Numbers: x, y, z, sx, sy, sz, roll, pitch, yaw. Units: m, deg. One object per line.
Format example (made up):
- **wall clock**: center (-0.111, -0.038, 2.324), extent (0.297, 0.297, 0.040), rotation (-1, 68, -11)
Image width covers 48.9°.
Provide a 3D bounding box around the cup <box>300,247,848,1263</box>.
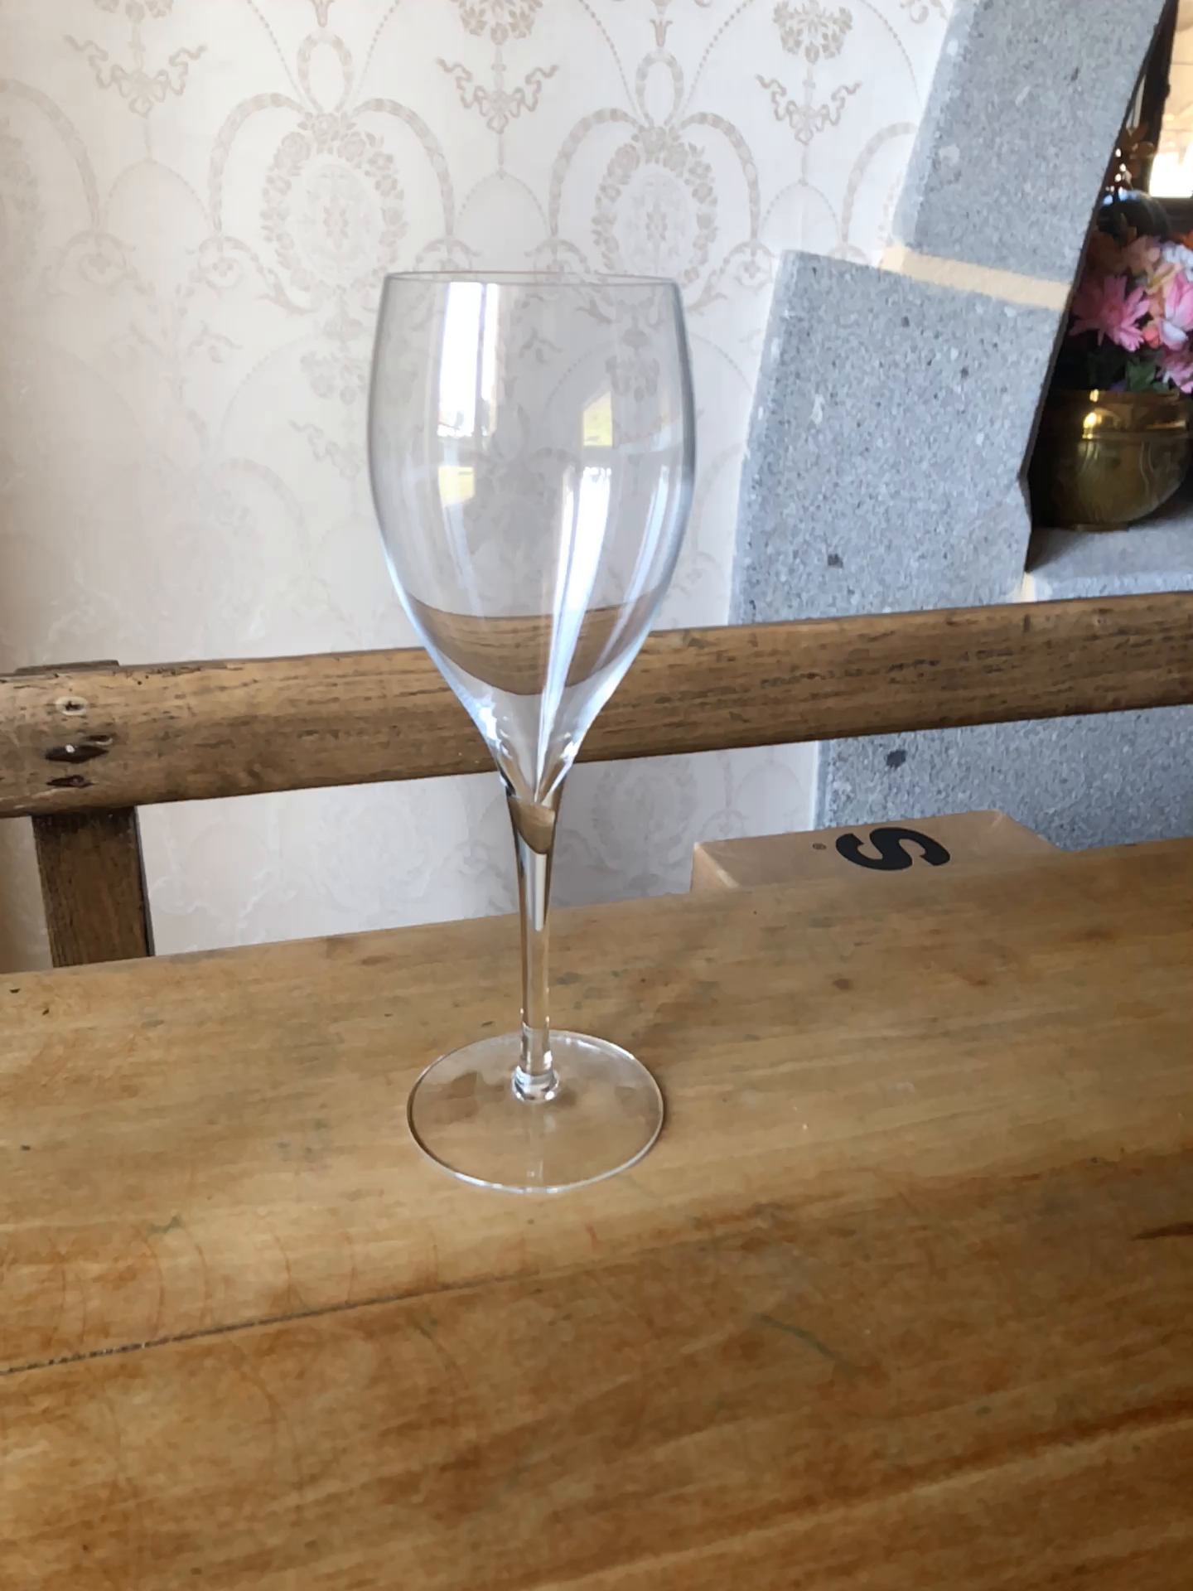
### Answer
- **cup**: center (-0.007, -0.014, 0.306), extent (0.080, 0.209, 0.080), rotation (0, 22, 0)
